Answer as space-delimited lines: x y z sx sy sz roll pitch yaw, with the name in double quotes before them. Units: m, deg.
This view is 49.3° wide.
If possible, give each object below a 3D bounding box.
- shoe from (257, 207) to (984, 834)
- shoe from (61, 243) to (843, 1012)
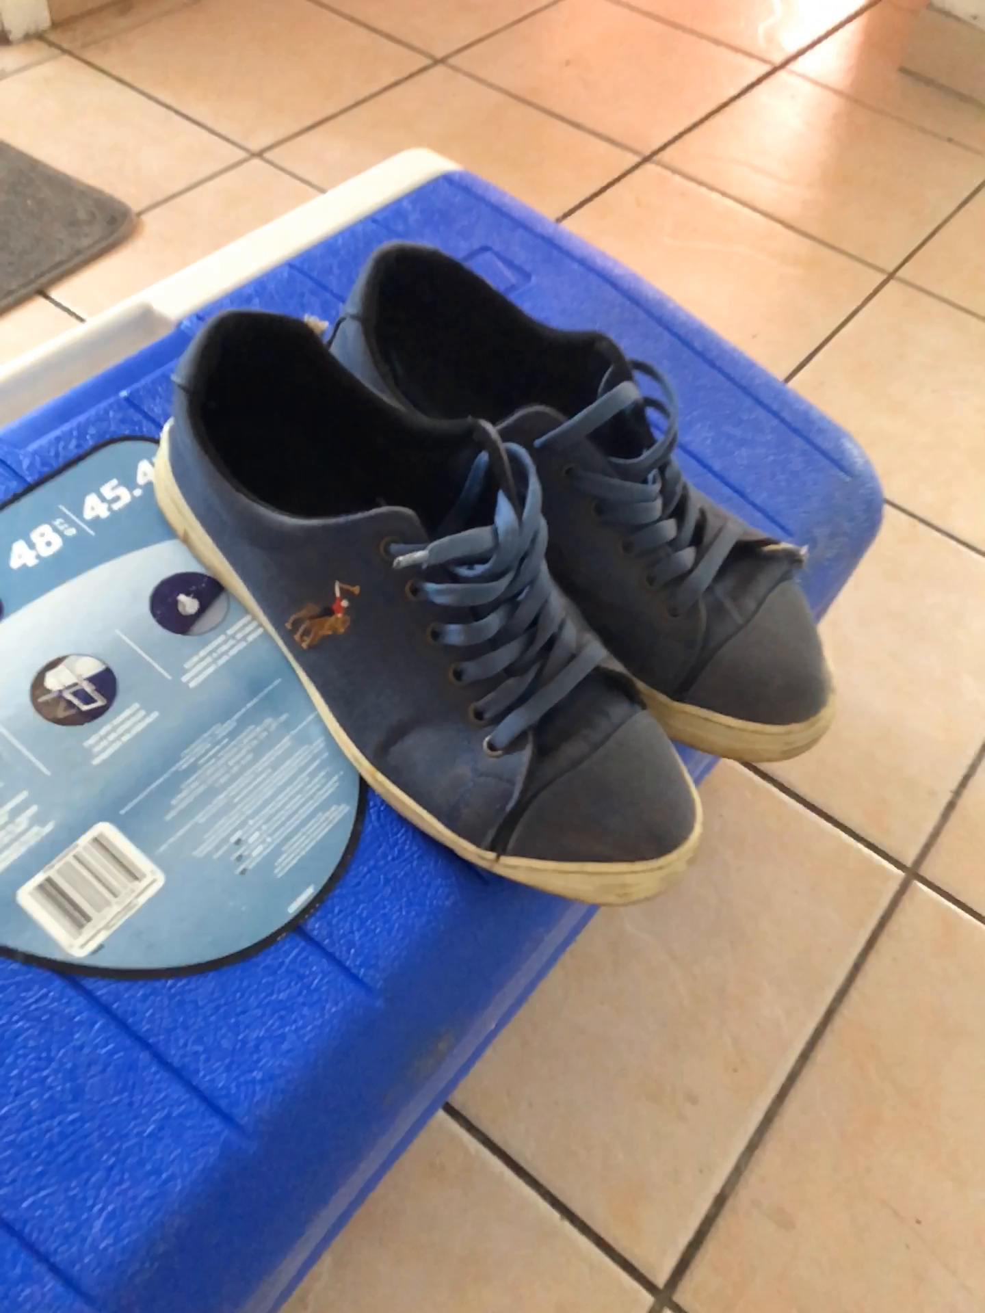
"shoe" 0.040 -0.065 0.446 0.271 0.089 0.108 36 58 16
"shoe" -0.025 -0.019 0.396 0.108 0.089 0.271 -37 72 -28
